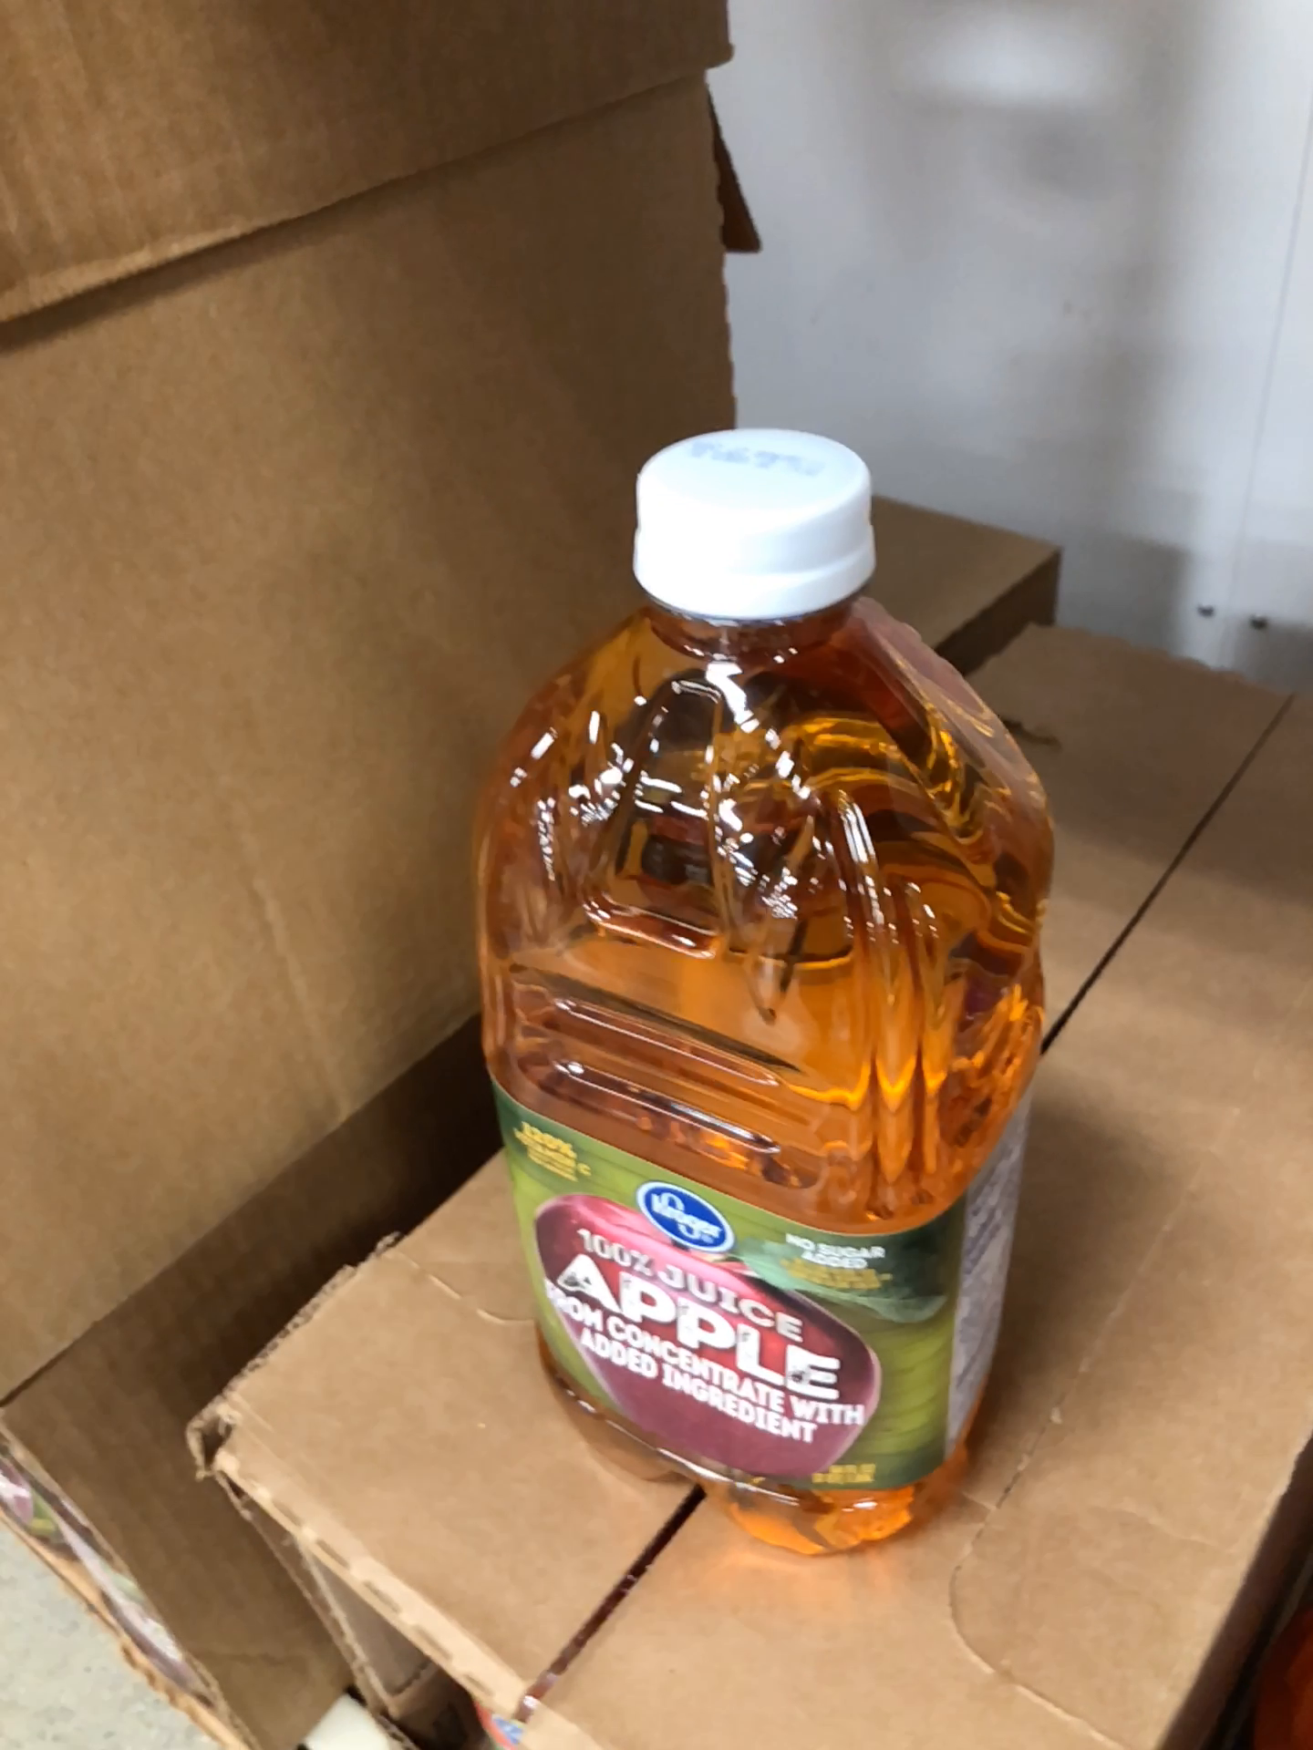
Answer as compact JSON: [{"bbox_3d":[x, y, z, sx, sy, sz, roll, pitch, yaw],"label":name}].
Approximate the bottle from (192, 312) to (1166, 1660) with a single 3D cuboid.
[{"bbox_3d":[0.019,0.033,0.312,0.120,0.259,0.100,17,45,28],"label":"bottle"}]
